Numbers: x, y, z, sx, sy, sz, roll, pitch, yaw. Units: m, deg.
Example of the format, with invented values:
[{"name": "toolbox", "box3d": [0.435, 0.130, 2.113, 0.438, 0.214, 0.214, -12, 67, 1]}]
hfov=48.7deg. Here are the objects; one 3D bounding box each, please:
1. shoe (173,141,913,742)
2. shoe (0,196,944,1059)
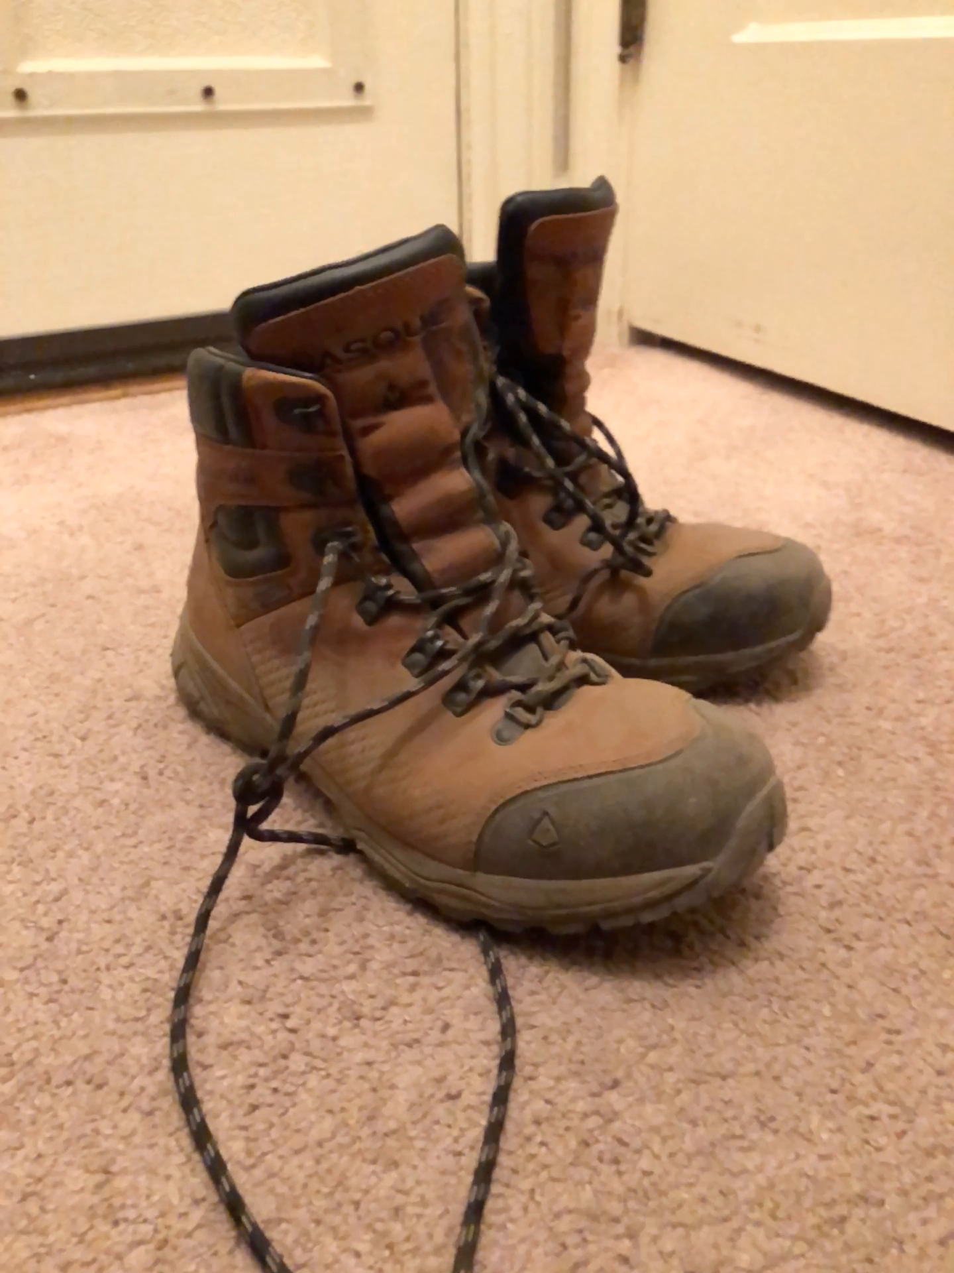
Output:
[{"name": "shoe", "box3d": [0.023, -0.115, 0.526, 0.310, 0.229, 0.121, 14, 31, 26]}, {"name": "shoe", "box3d": [-0.022, -0.035, 0.401, 0.311, 0.219, 0.121, 21, 35, 35]}]
